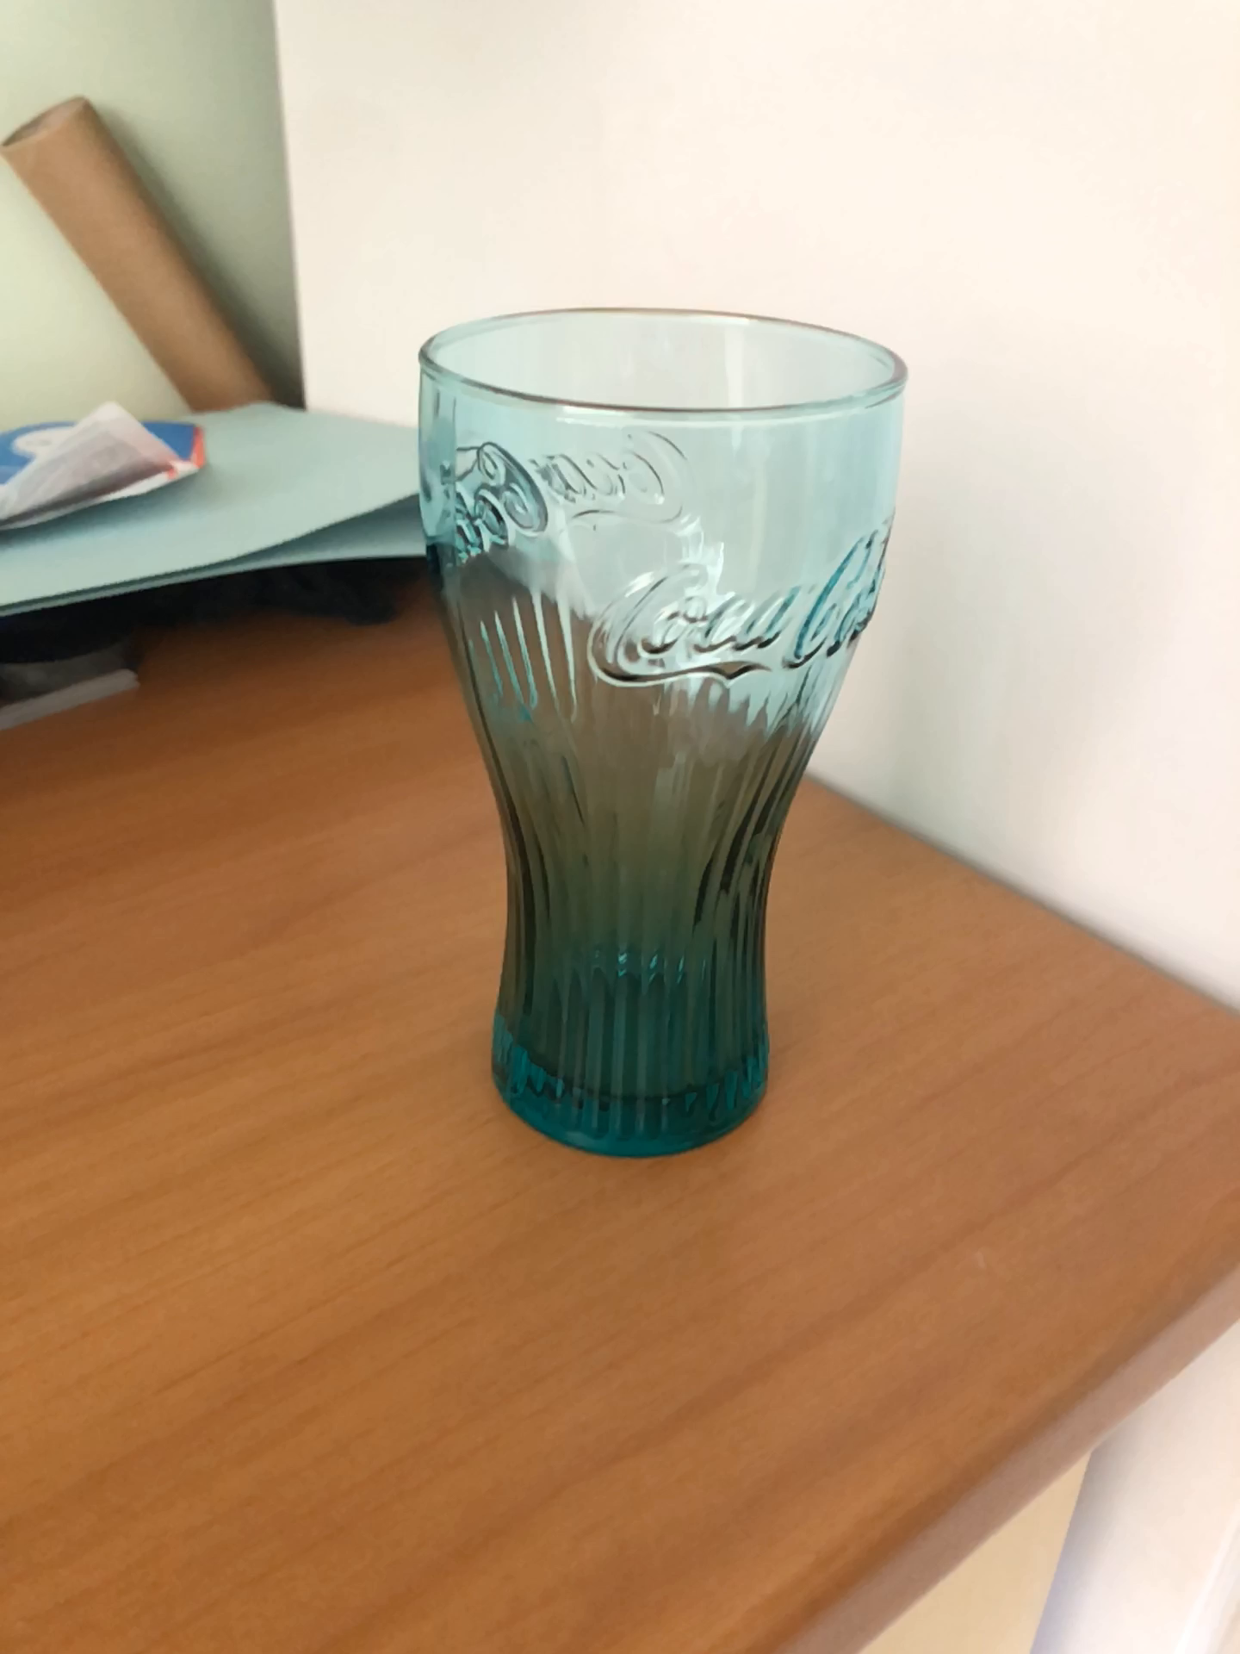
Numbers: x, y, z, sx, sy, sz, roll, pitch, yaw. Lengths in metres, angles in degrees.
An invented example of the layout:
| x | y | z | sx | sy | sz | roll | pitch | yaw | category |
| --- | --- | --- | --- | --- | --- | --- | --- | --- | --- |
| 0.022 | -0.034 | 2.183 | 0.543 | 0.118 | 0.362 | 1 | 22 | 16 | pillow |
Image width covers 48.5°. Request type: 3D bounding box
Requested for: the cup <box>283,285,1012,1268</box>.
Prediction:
| x | y | z | sx | sy | sz | roll | pitch | yaw | category |
| --- | --- | --- | --- | --- | --- | --- | --- | --- | --- |
| 0.002 | -0.015 | 0.247 | 0.080 | 0.139 | 0.080 | 2 | 29 | -1 | cup |
